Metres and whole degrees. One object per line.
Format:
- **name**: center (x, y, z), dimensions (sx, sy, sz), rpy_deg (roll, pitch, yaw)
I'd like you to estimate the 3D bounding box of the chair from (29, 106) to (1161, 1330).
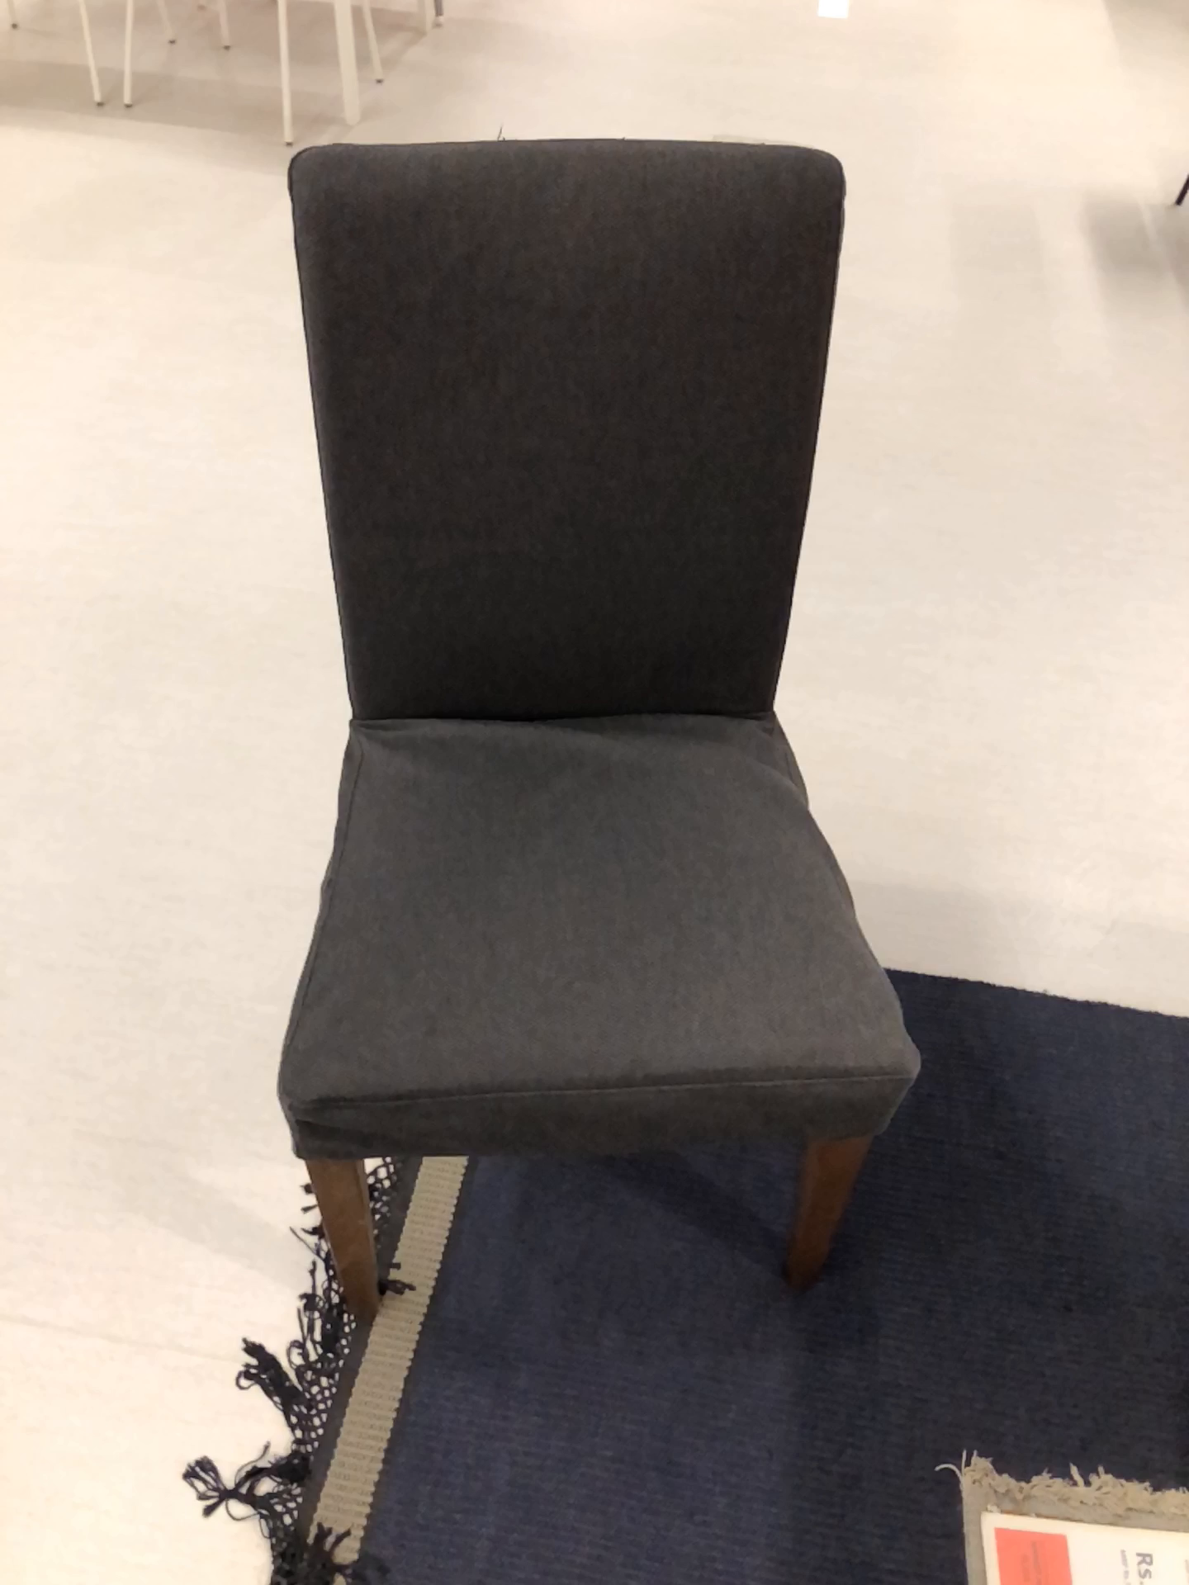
- **chair**: center (-0.024, 0.010, 1.164), dimensions (0.540, 0.964, 0.553), rpy_deg (-1, 48, -4)
